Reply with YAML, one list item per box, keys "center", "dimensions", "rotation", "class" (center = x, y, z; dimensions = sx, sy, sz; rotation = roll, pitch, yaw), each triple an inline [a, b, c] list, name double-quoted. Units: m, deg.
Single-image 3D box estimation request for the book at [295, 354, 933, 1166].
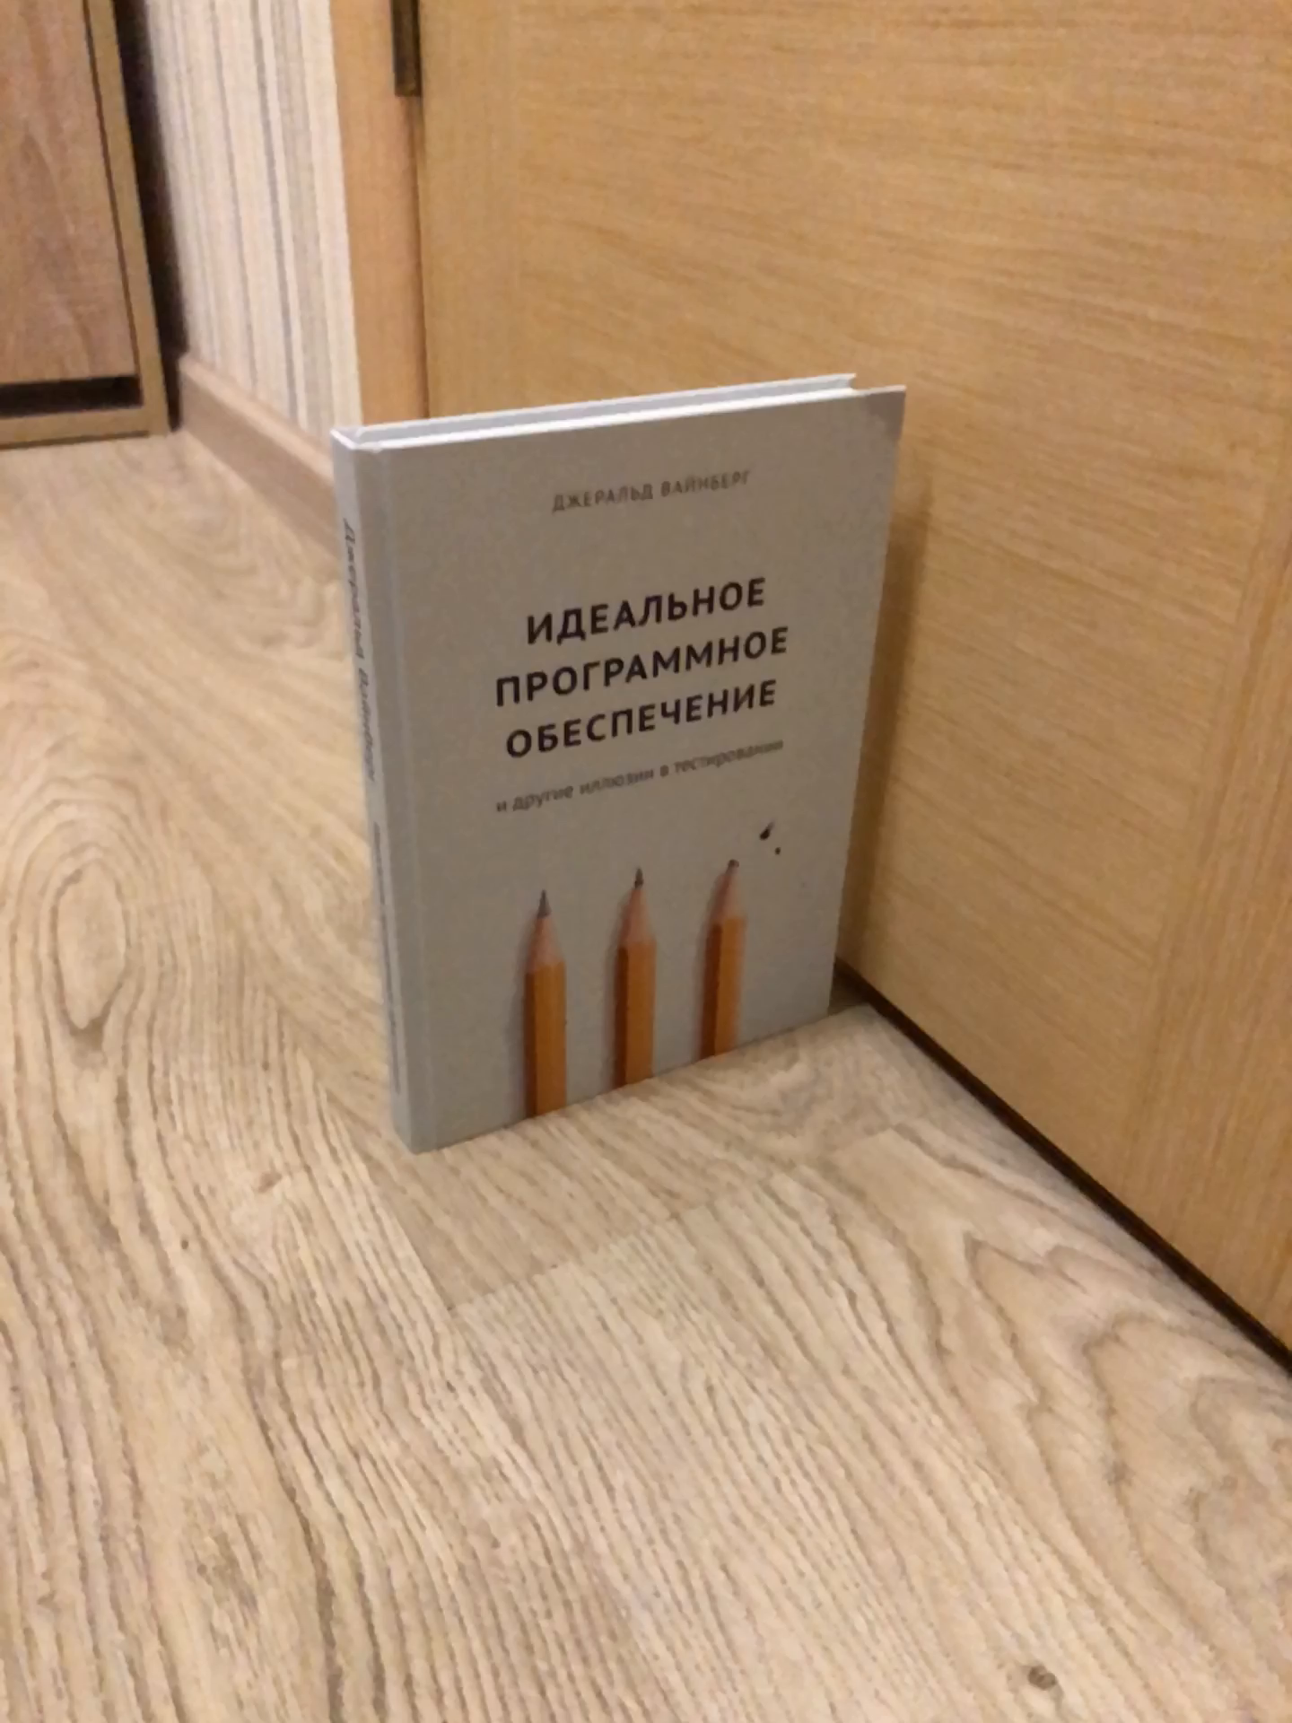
- center: [-0.005, -0.025, 0.401]
  dimensions: [0.163, 0.209, 0.023]
  rotation: [-15, 35, -25]
  class: "book"
